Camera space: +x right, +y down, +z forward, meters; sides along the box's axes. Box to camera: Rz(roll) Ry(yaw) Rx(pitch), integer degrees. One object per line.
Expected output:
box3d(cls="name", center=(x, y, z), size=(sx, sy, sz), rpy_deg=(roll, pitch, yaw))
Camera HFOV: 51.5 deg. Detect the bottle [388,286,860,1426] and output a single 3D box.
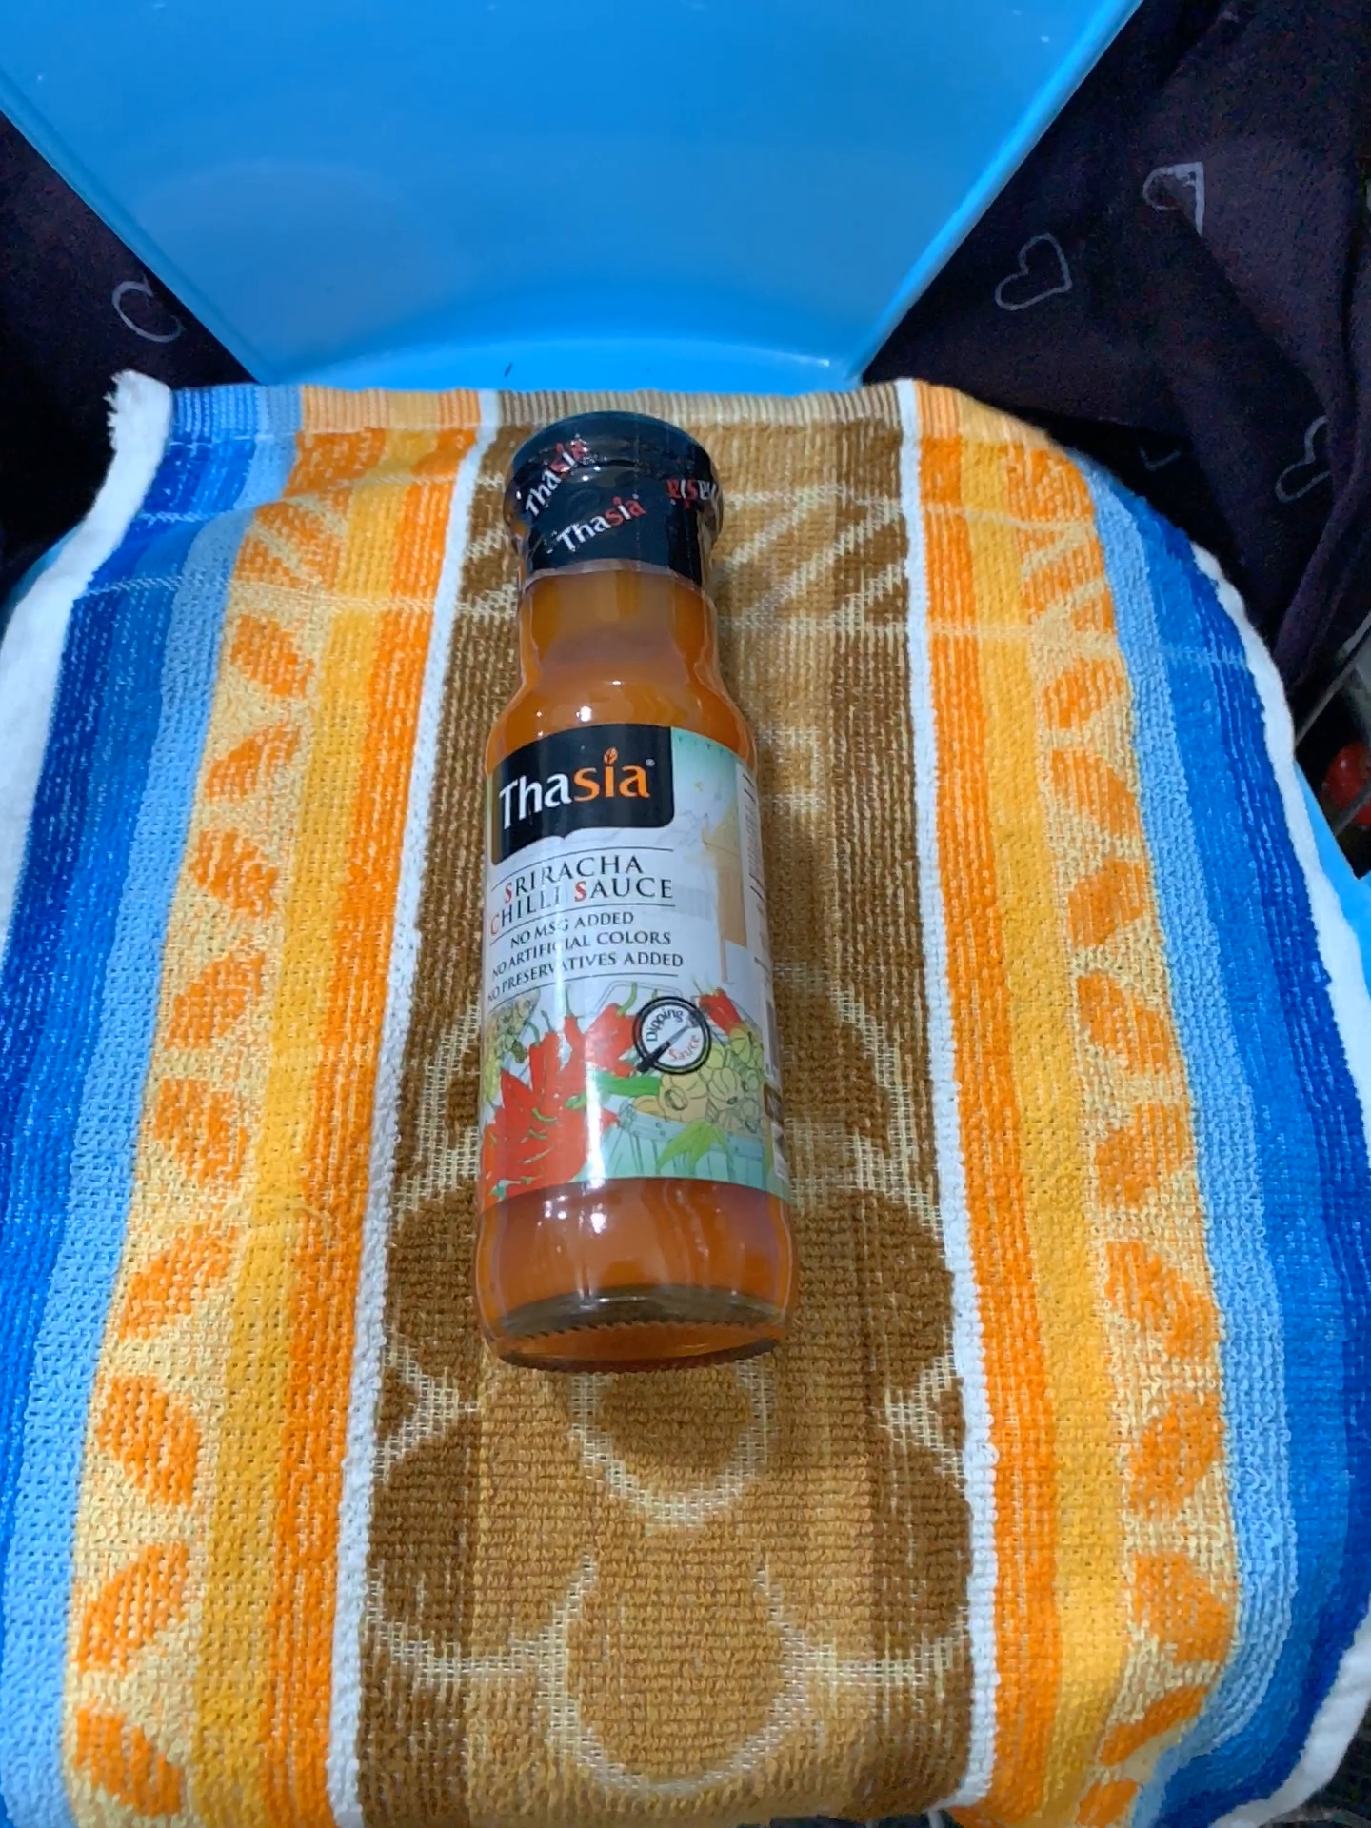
box3d(cls="bottle", center=(-0.008, -0.017, 0.232), size=(0.050, 0.050, 0.180), rpy_deg=(-9, 60, 12))
